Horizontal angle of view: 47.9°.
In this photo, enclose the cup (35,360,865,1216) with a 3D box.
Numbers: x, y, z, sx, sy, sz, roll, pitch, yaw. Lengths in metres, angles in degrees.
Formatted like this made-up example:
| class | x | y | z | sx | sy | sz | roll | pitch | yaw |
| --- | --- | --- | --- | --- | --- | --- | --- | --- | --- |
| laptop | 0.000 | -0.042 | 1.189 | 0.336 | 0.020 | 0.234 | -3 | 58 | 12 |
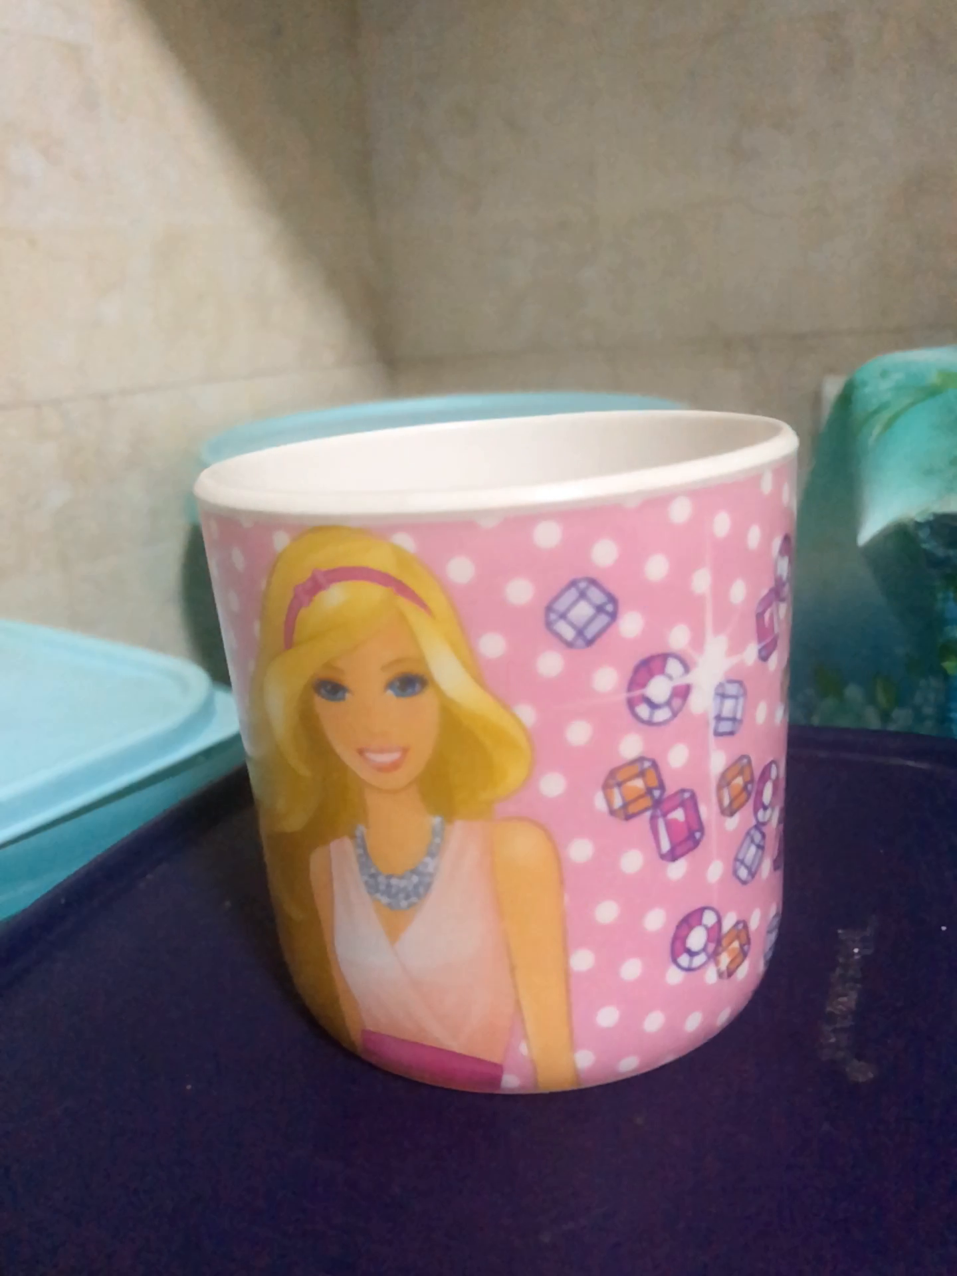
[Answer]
| class | x | y | z | sx | sy | sz | roll | pitch | yaw |
| --- | --- | --- | --- | --- | --- | --- | --- | --- | --- |
| cup | 0.013 | 0.003 | 0.171 | 0.080 | 0.080 | 0.120 | 3 | 18 | 25 |
